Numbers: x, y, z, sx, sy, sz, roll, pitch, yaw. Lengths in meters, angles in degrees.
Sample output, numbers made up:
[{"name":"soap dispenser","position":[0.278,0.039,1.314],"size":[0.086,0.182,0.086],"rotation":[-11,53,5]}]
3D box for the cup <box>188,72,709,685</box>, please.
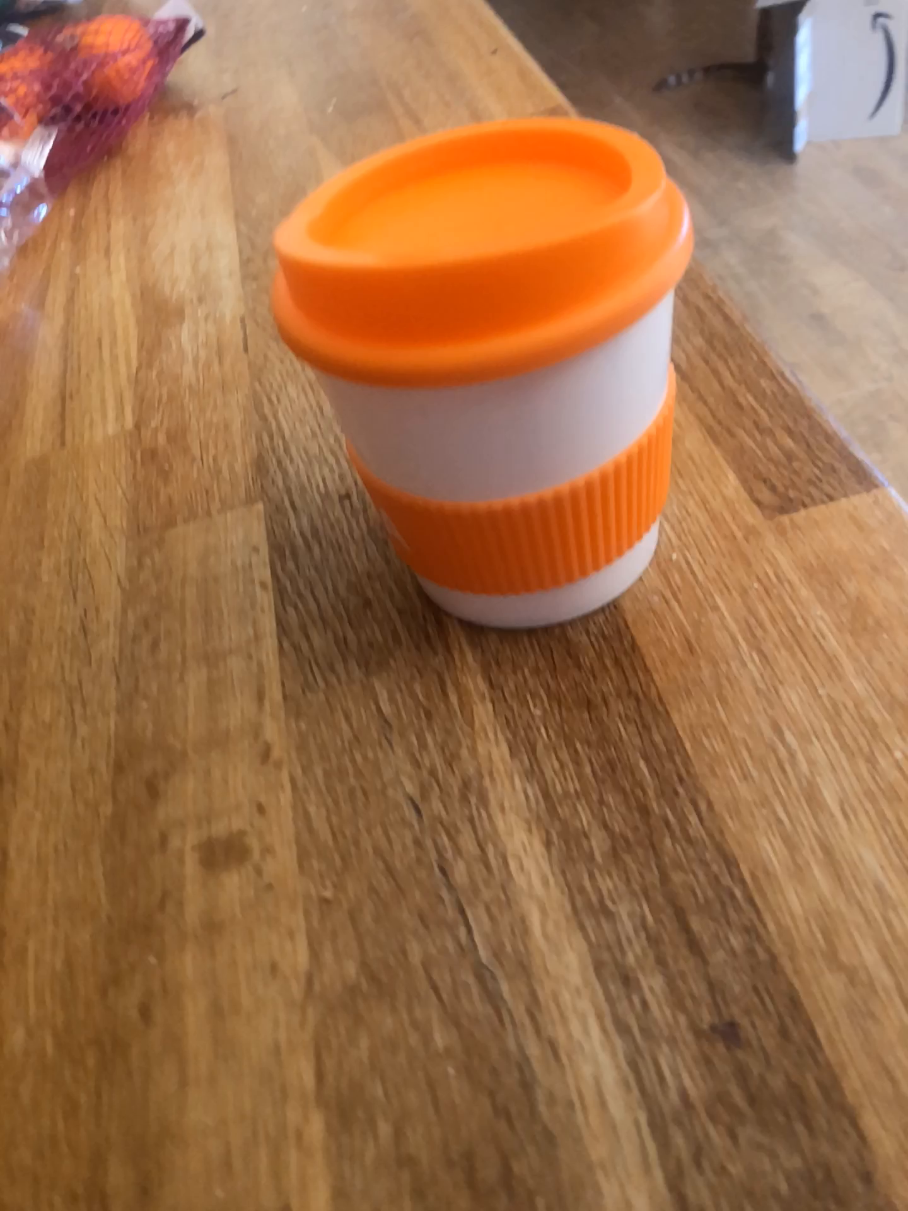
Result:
[{"name":"cup","position":[0.012,-0.047,0.220],"size":[0.081,0.089,0.089],"rotation":[1,47,17]}]
